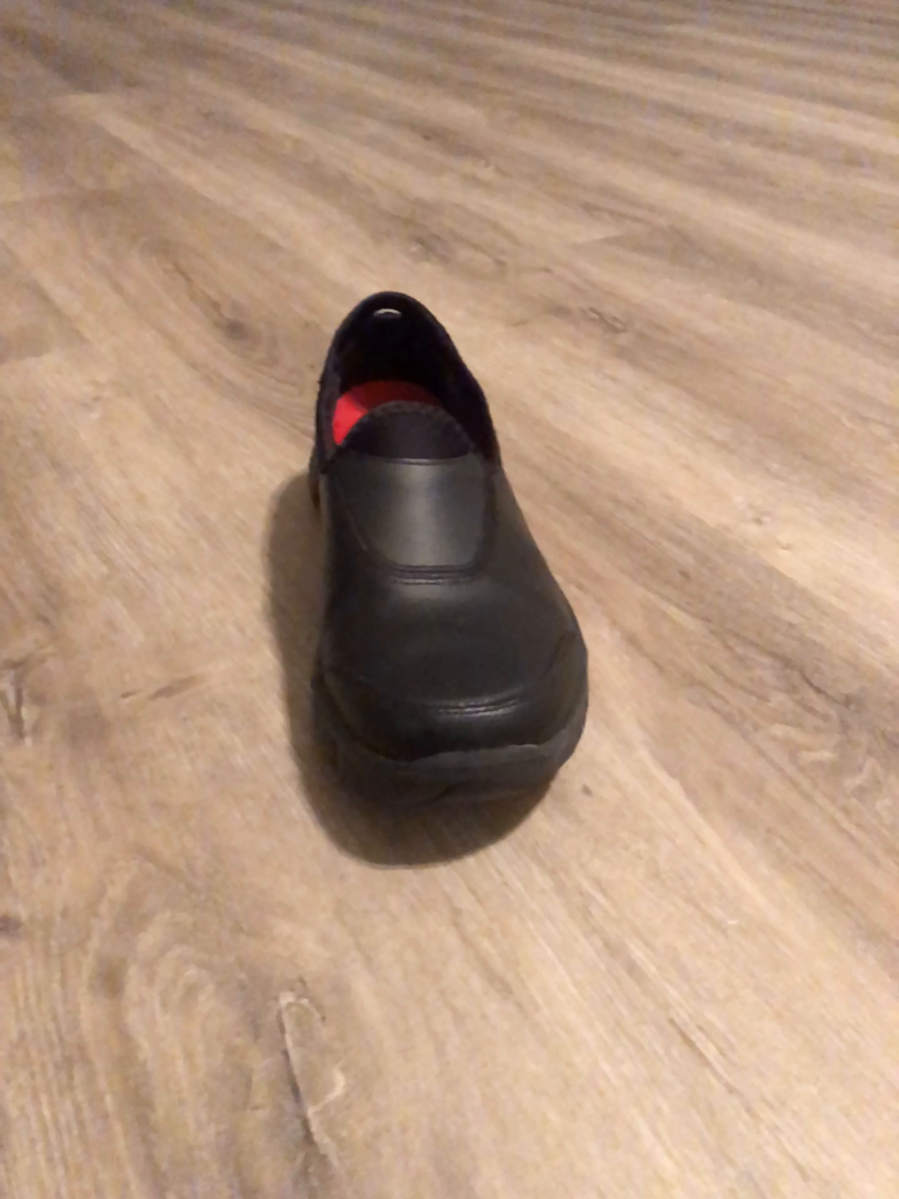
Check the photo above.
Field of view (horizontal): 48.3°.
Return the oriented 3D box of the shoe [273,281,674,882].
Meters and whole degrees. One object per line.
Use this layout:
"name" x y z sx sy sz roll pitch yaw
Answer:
"shoe" -0.010 -0.029 0.366 0.090 0.090 0.241 -6 37 -8
